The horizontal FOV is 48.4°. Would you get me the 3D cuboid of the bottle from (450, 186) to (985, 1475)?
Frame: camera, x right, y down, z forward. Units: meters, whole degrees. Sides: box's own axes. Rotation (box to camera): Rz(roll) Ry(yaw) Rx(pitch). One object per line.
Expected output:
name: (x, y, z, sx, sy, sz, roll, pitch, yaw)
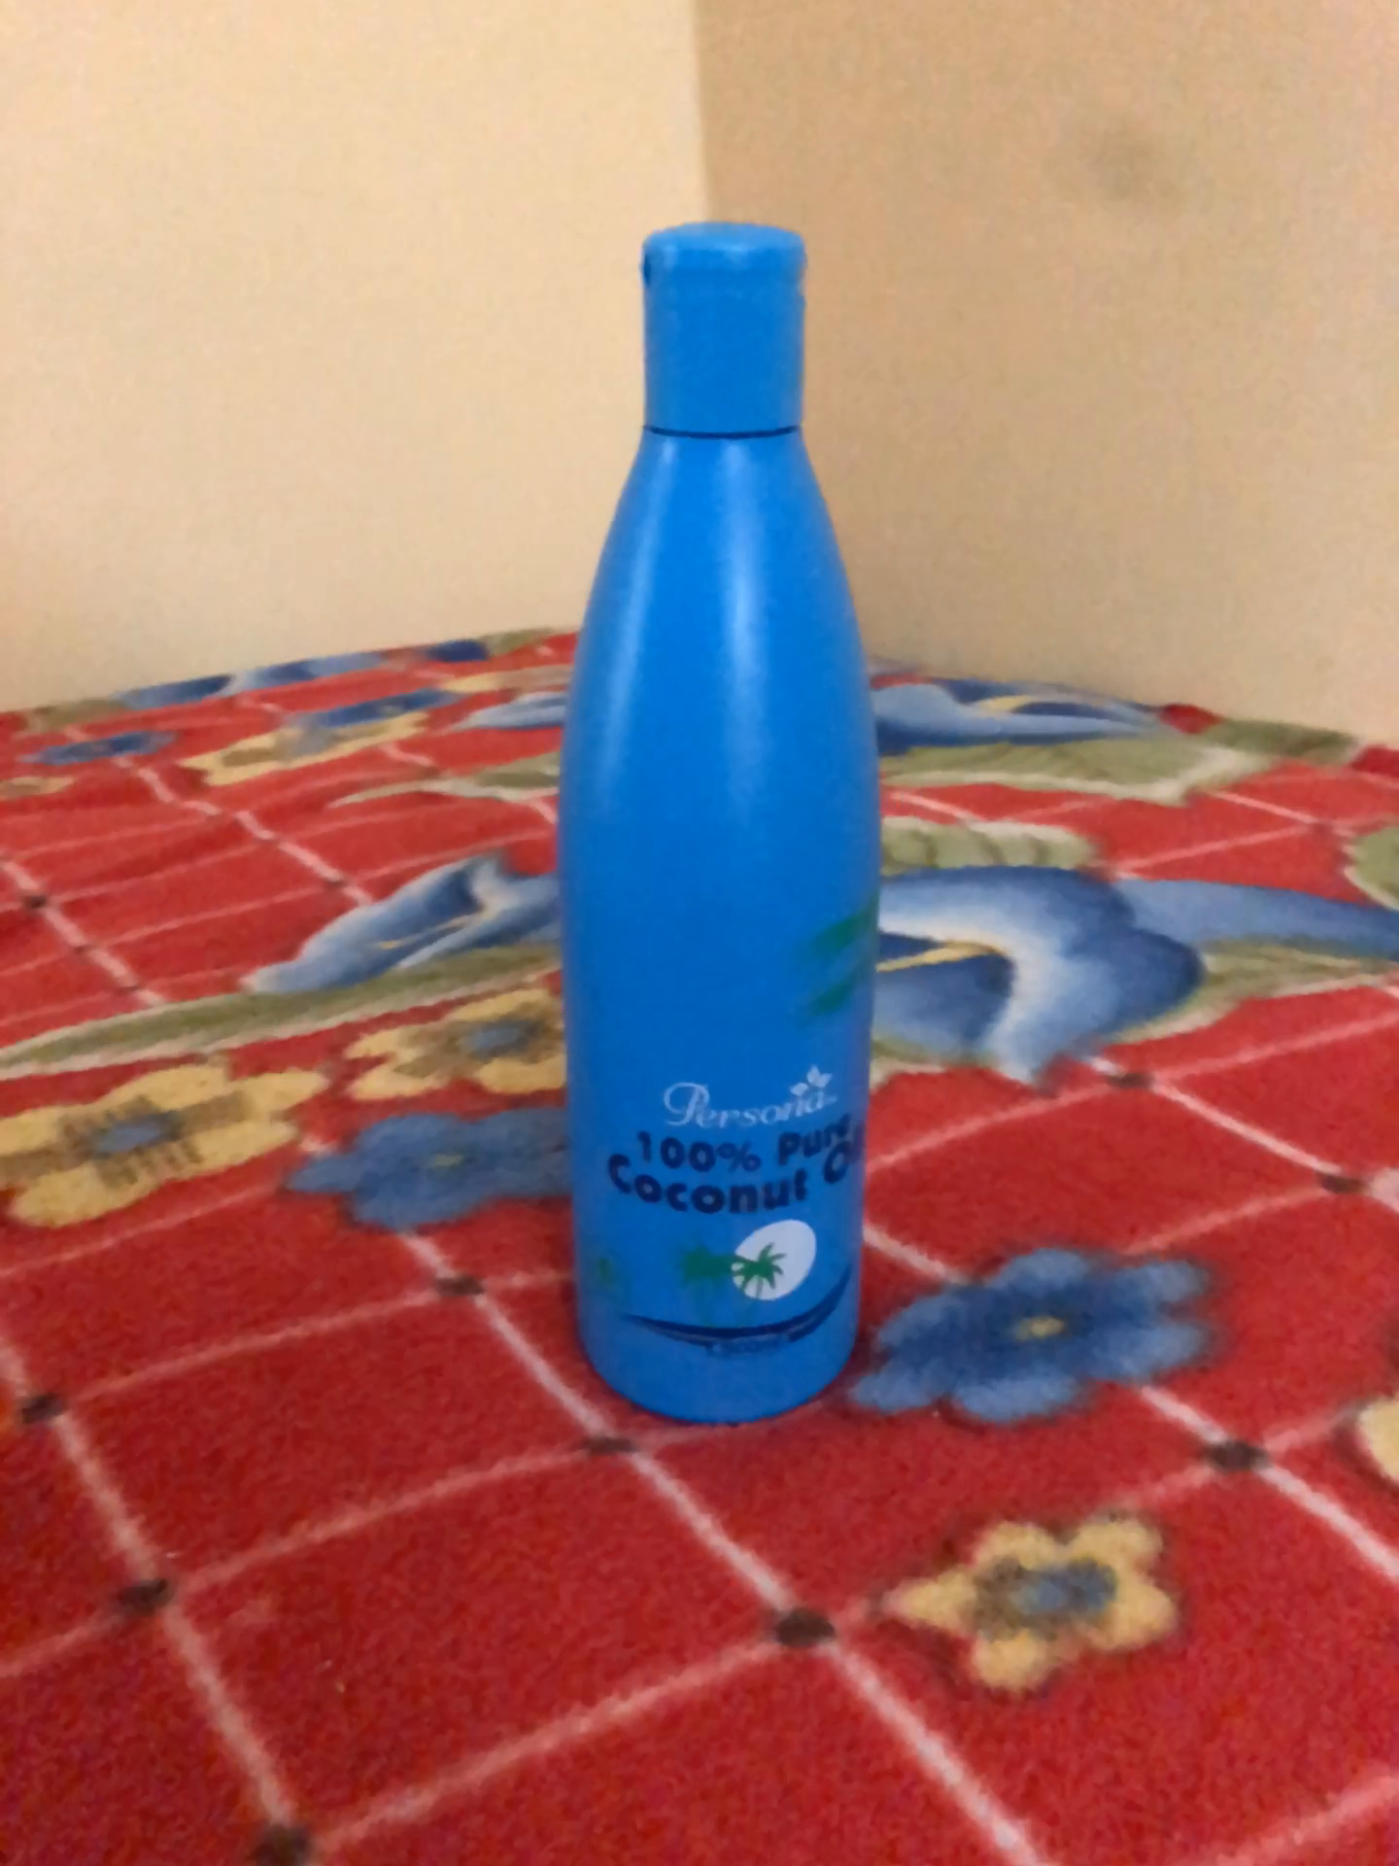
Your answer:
bottle: (0.004, -0.016, 0.304, 0.070, 0.229, 0.070, -2, 23, 1)
